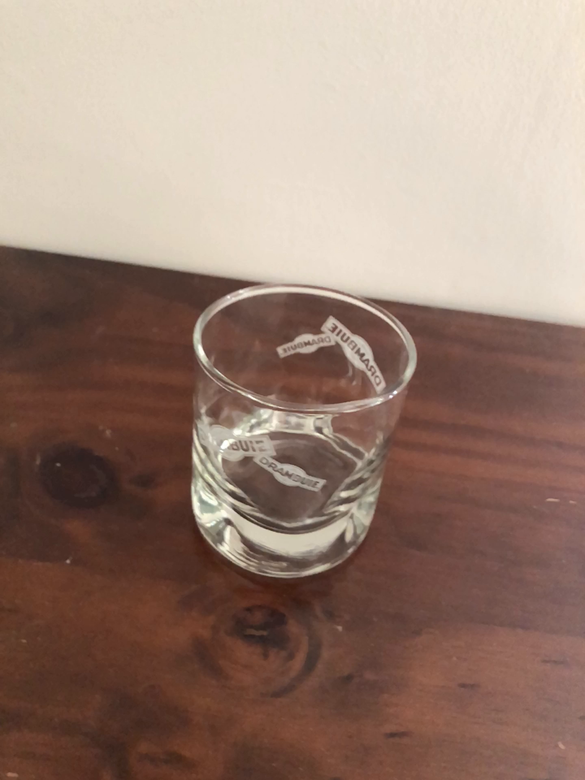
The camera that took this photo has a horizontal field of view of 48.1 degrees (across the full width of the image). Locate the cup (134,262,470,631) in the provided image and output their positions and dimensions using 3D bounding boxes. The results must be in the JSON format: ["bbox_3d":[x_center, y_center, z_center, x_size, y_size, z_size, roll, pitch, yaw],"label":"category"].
[{"bbox_3d":[0.001,0.015,0.245,0.082,0.080,0.081,5,37,-4],"label":"cup"}]
